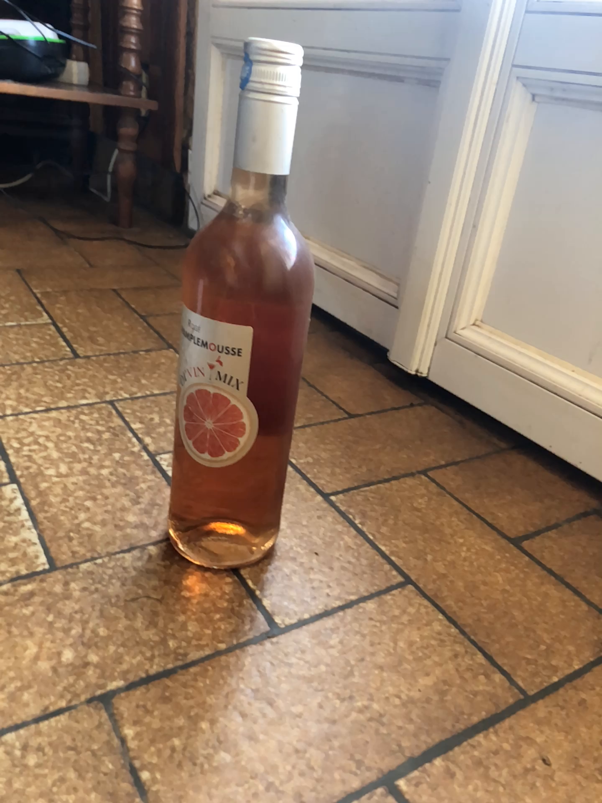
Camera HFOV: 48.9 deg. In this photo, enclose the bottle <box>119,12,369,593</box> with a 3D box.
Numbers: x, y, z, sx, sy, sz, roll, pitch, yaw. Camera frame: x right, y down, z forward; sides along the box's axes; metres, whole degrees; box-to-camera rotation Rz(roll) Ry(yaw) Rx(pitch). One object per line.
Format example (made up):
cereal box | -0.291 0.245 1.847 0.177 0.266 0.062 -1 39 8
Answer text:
bottle | -0.043 -0.044 0.371 0.080 0.288 0.080 7 25 -3
